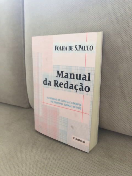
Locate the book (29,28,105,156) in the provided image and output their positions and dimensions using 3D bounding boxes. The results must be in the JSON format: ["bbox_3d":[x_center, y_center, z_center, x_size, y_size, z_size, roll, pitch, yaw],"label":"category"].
[{"bbox_3d":[-0.008,0.002,0.322,0.166,0.228,0.040,9,13,38],"label":"book"}]
